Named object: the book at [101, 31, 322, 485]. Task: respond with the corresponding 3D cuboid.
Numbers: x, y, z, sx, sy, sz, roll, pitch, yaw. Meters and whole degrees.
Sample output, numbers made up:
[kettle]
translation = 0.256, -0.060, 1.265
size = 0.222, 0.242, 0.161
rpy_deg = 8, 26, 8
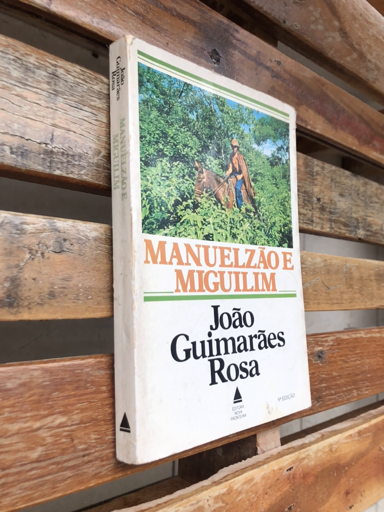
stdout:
[book]
translation = 0.019, -0.001, 0.242
size = 0.142, 0.020, 0.200
rpy_deg = 3, 82, -42
